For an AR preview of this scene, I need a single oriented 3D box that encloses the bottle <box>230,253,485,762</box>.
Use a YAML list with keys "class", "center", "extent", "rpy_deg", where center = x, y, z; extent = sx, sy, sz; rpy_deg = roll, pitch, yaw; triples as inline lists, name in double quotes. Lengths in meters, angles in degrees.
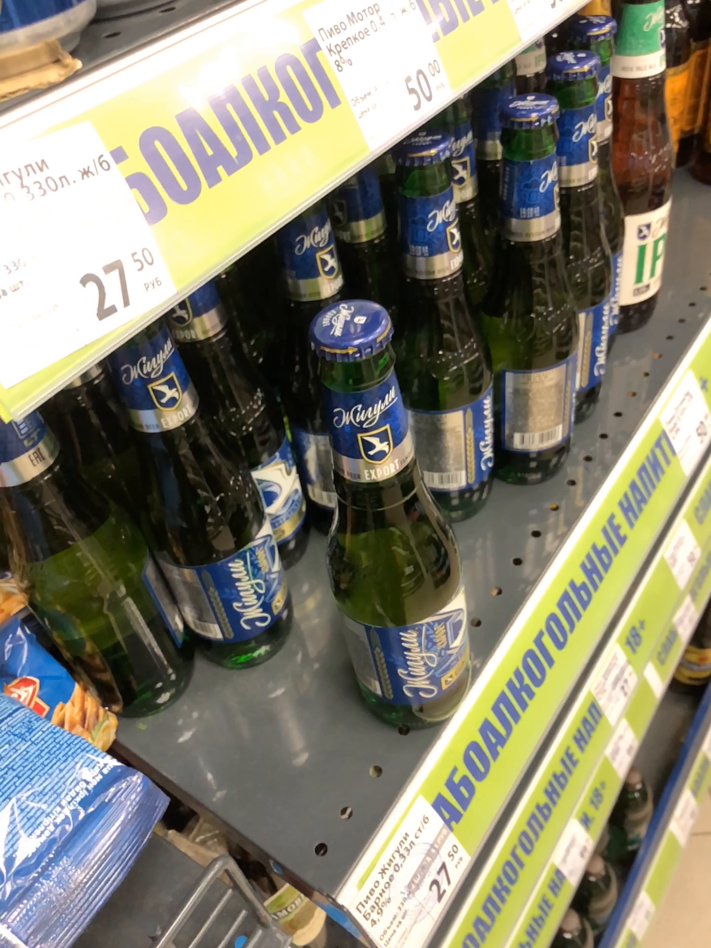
- class: "bottle"
  center: [0.015, 0.031, 0.346]
  extent: [0.063, 0.239, 0.063]
  rpy_deg: [-5, 44, 5]
